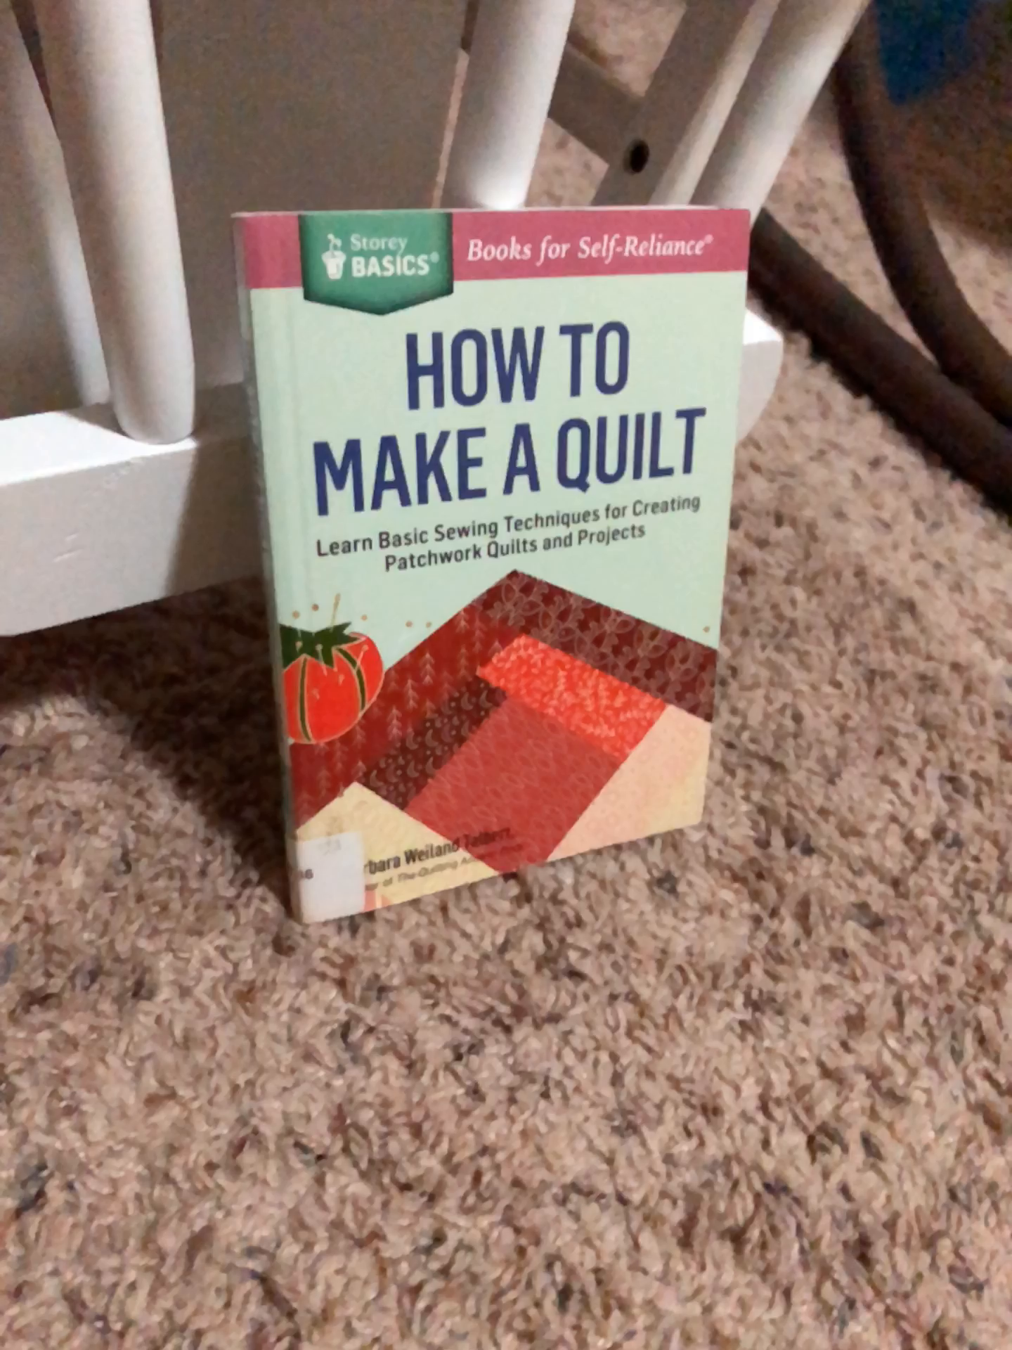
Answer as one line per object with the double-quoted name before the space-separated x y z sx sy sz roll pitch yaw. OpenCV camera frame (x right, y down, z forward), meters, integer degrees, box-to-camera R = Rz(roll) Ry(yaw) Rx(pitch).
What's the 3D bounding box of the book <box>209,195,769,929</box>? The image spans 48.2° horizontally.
"book" 0.001 -0.029 0.285 0.130 0.168 0.020 -10 24 -25
